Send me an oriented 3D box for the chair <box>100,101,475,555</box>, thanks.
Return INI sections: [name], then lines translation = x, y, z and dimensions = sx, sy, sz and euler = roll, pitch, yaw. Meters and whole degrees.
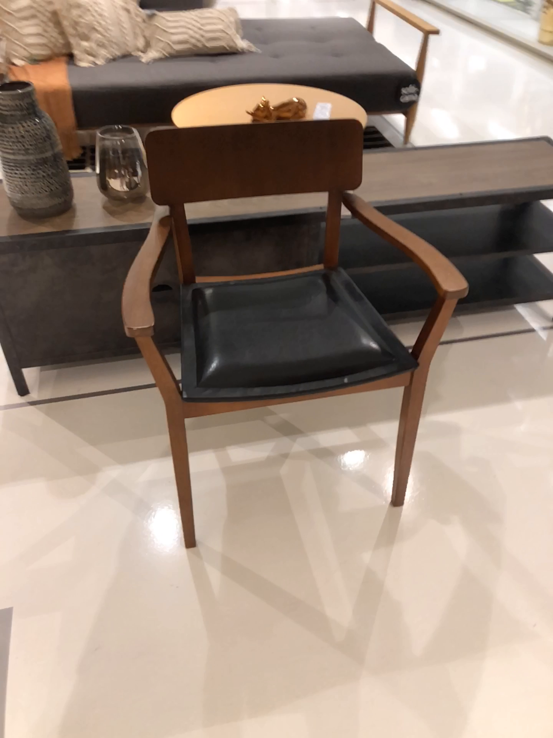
[chair]
translation = -0.035, -0.100, 1.347
dimensions = 0.560, 0.744, 0.574
euler = -8, 41, -11
